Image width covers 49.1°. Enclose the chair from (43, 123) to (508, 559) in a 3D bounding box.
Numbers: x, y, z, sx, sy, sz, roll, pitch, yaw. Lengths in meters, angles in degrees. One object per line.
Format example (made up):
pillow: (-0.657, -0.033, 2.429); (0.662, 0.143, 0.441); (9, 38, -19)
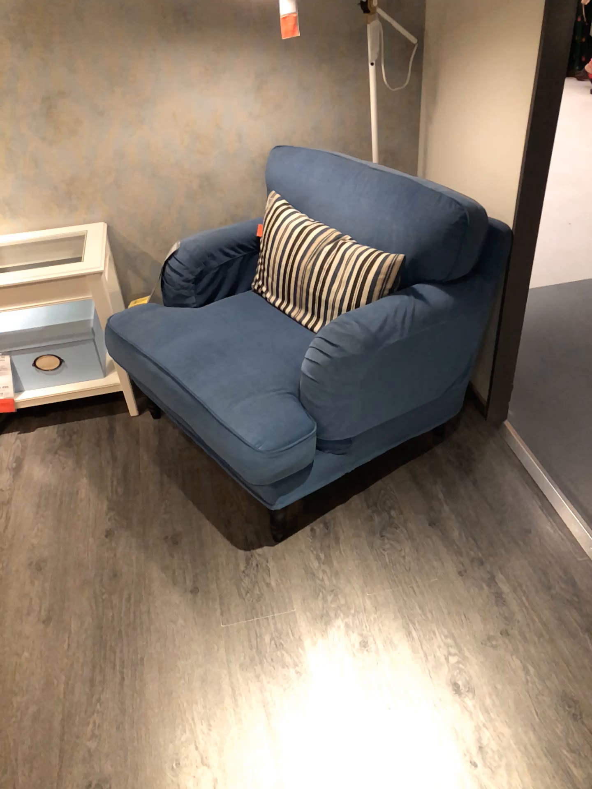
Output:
chair: (-0.070, -0.245, 1.831); (0.802, 0.695, 0.894); (-27, 42, -28)
